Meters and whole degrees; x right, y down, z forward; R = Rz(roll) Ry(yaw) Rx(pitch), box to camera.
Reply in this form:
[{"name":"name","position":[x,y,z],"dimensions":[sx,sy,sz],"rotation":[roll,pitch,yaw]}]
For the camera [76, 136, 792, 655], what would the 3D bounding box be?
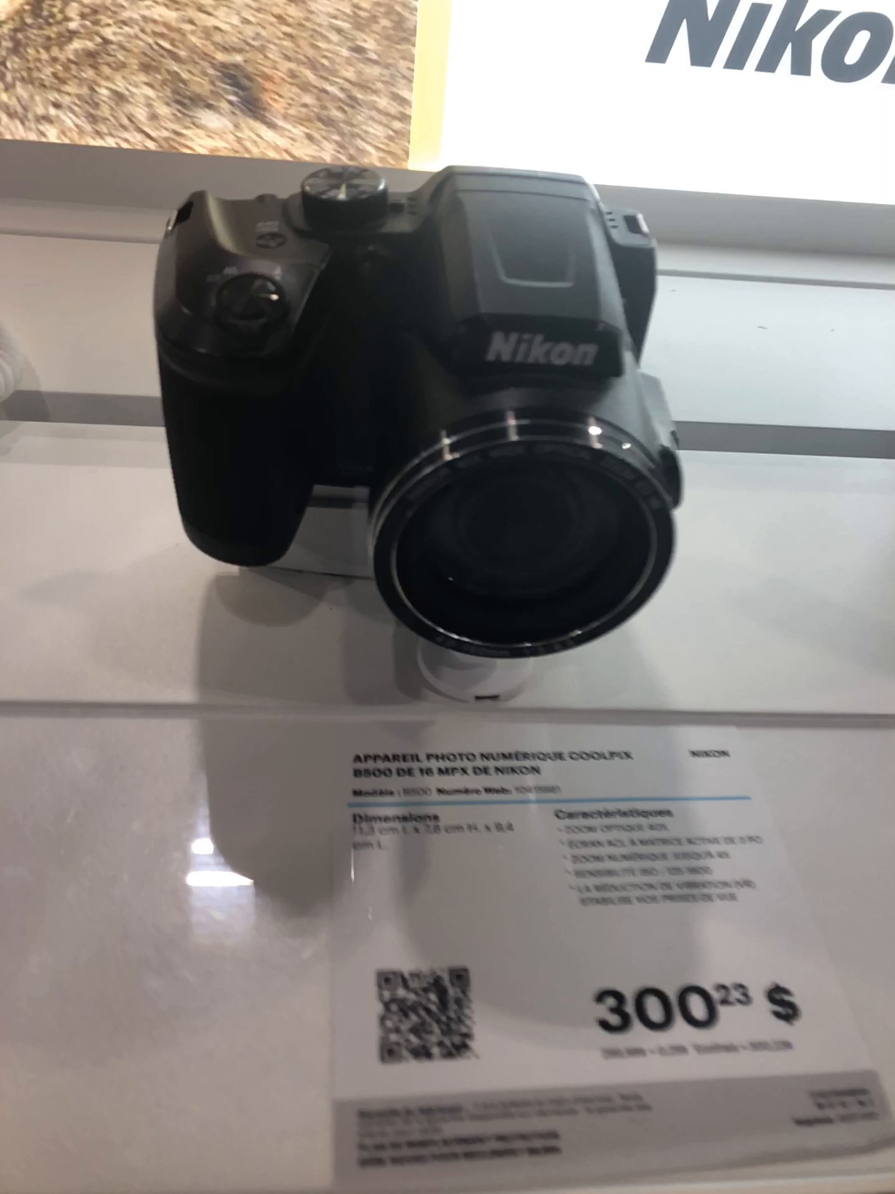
[{"name":"camera","position":[-0.006,-0.043,0.206],"dimensions":[0.111,0.069,0.085],"rotation":[1,40,-6]}]
